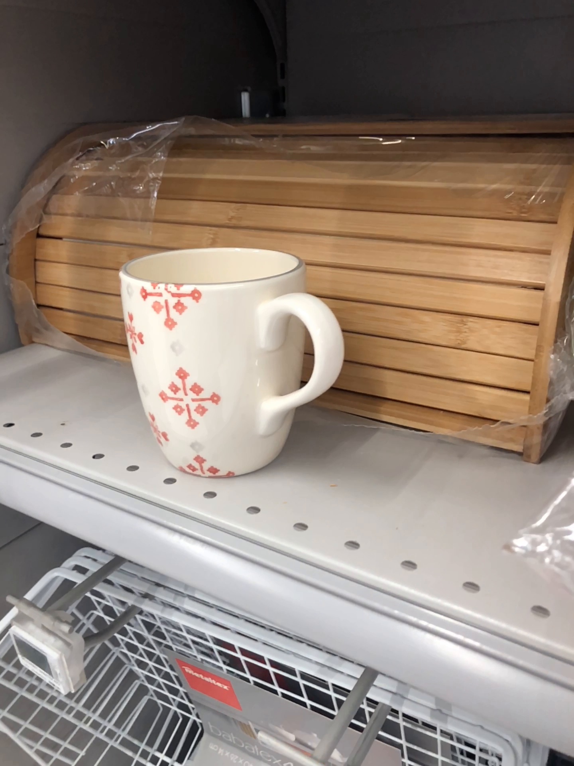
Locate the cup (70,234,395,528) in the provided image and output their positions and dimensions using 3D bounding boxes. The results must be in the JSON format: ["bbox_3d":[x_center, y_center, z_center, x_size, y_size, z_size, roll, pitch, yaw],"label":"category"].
[{"bbox_3d":[-0.027,-0.013,0.306,0.090,0.089,0.124,-21,30,-38],"label":"cup"}]
